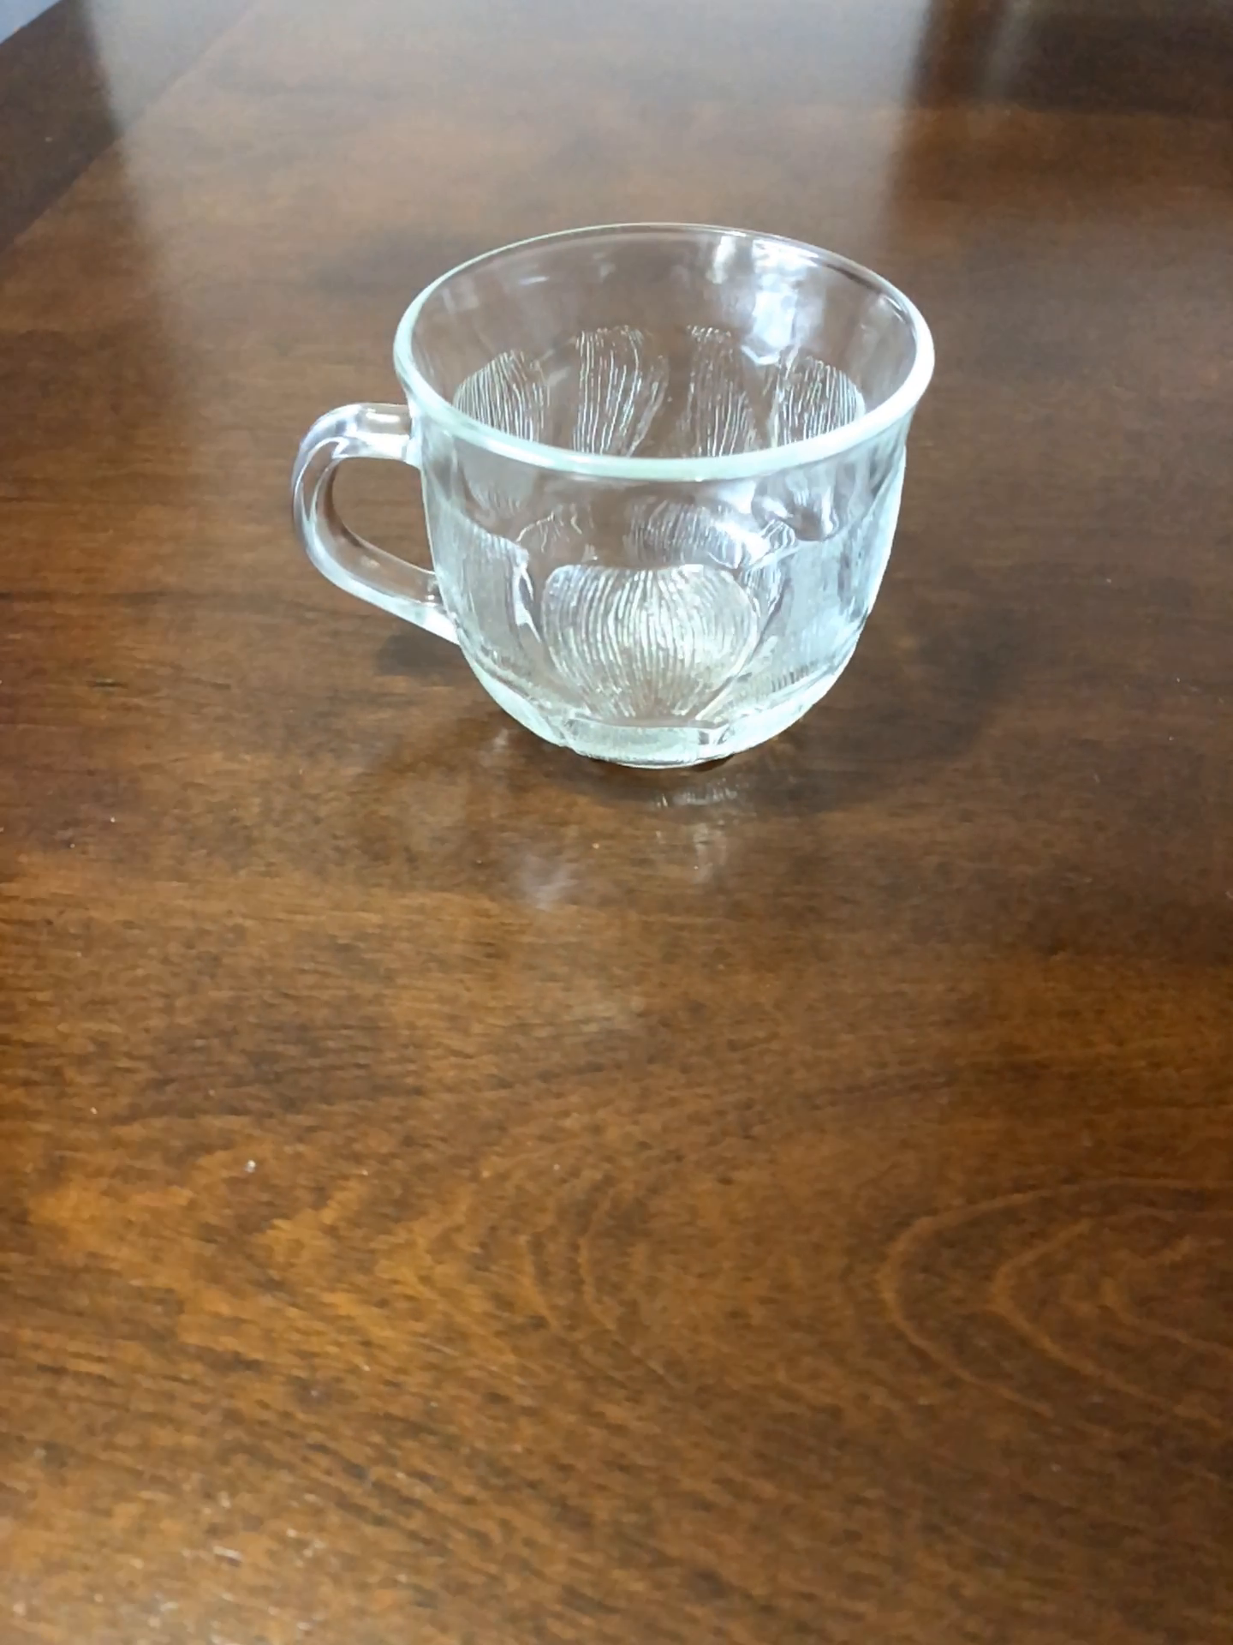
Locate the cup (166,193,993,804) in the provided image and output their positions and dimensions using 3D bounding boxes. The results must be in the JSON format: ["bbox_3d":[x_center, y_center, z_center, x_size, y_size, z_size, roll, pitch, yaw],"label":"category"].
[{"bbox_3d":[-0.001,-0.053,0.210,0.100,0.050,0.080,5,45,5],"label":"cup"}]
